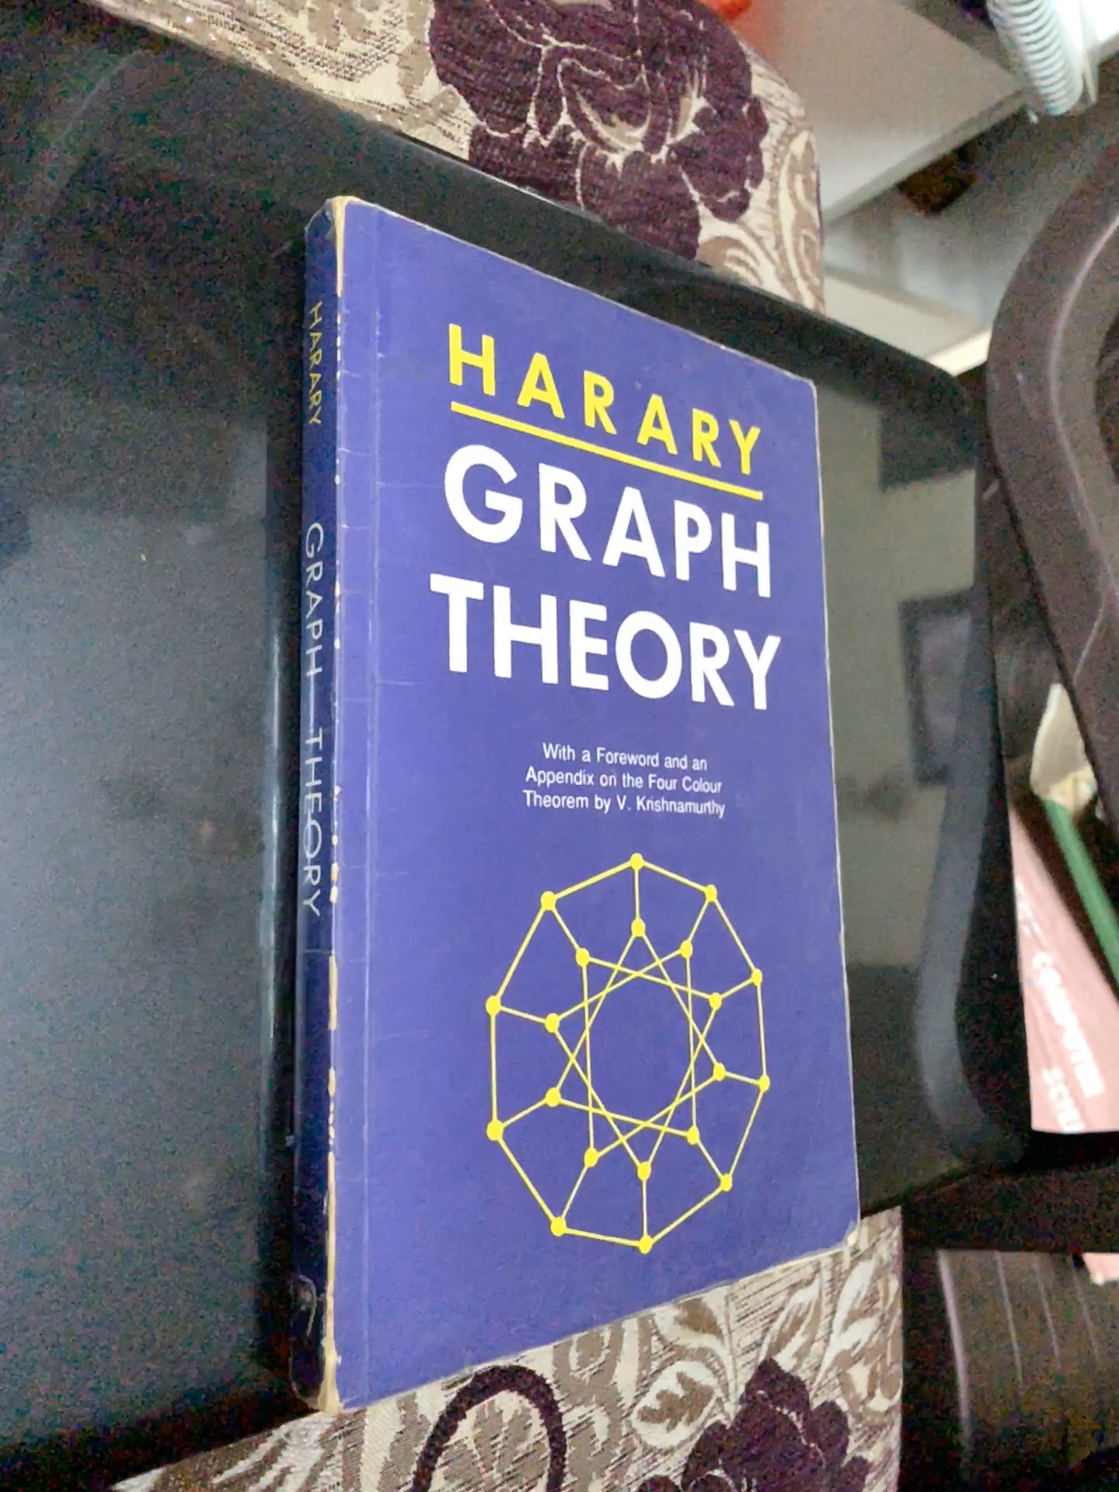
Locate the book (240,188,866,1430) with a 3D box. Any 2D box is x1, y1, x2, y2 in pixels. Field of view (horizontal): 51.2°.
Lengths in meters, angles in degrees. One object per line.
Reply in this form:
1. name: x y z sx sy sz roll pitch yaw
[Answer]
1. book: 0.007 0.009 0.240 0.141 0.020 0.200 5 80 -39
